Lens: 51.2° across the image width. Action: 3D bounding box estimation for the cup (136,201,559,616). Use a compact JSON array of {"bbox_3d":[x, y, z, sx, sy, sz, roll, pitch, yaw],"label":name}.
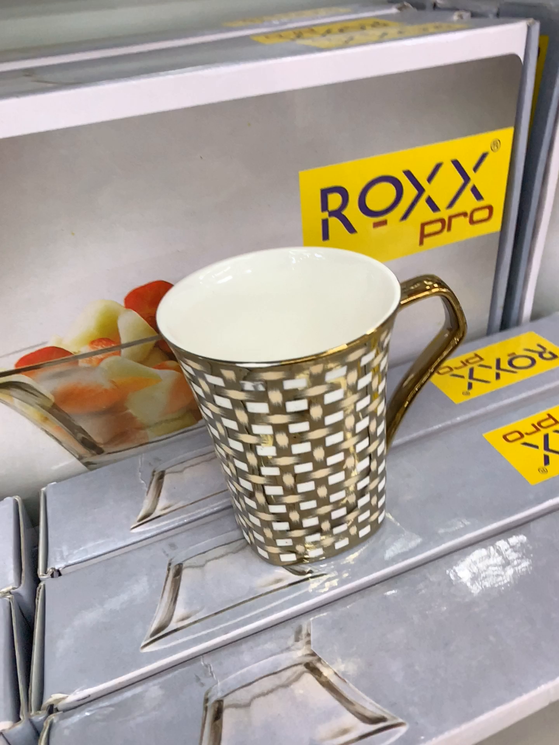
[{"bbox_3d":[0.021,0.005,0.209,0.110,0.089,0.081,-18,36,-18],"label":"cup"}]
